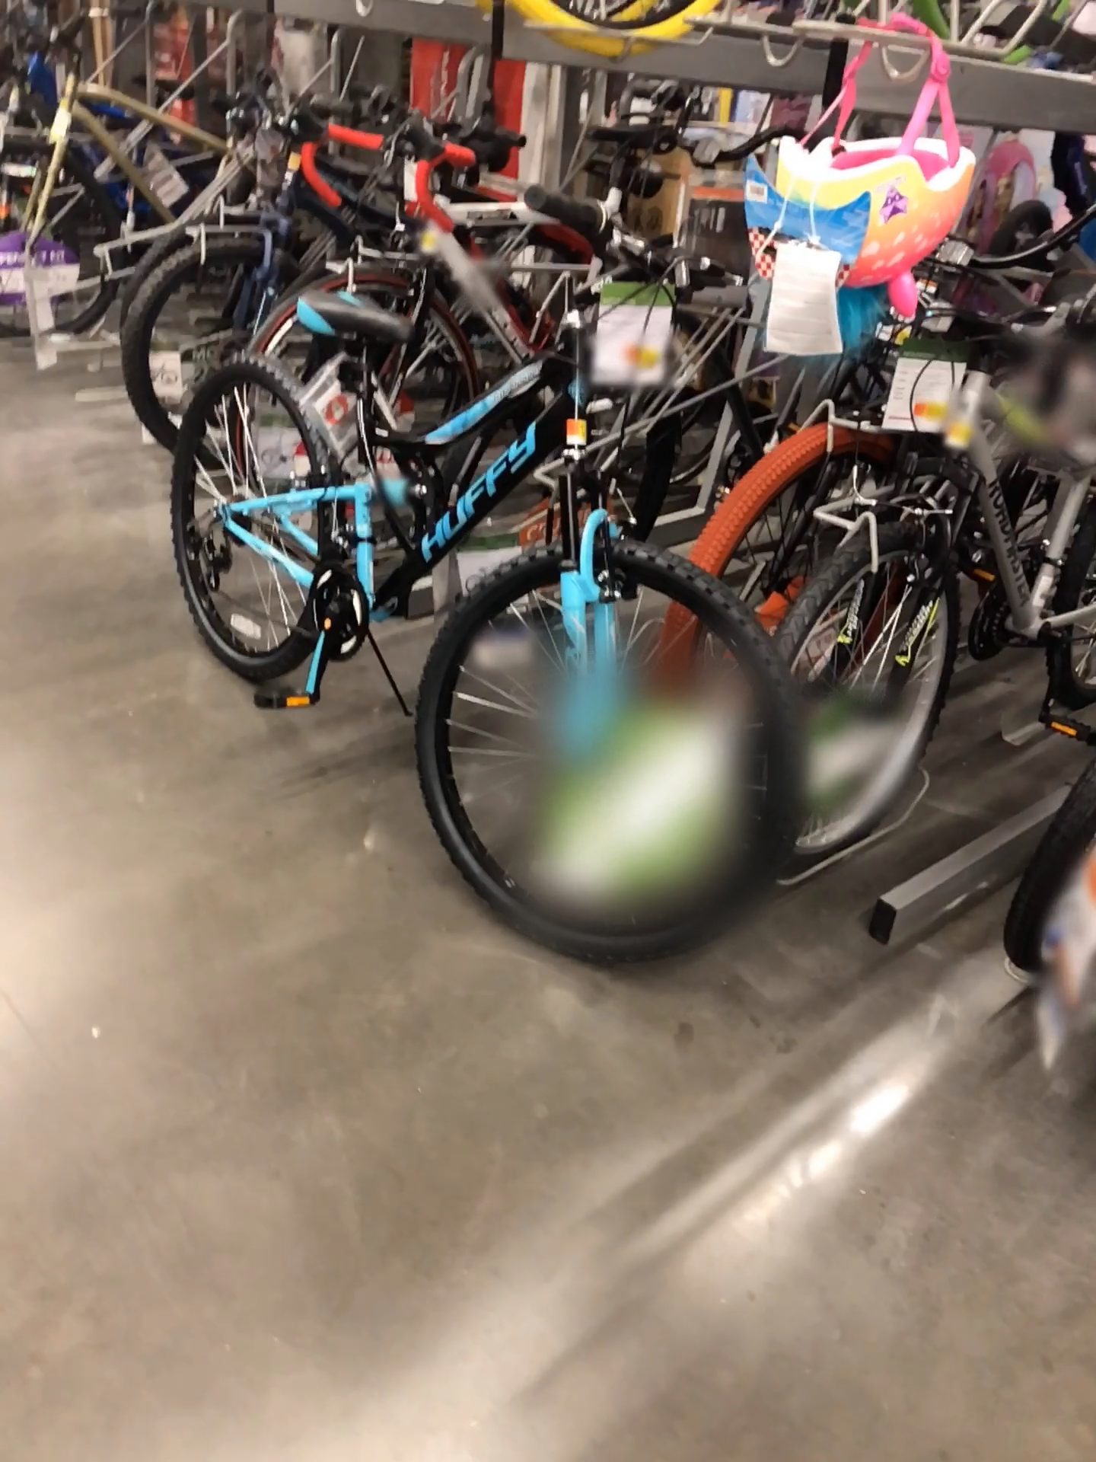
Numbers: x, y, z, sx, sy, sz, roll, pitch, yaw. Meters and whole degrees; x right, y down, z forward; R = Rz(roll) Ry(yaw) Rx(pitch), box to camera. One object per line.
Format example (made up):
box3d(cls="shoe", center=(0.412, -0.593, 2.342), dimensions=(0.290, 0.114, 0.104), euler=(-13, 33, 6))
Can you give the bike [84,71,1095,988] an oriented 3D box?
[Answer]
box3d(cls="bike", center=(-0.077, -0.490, 2.174), dimensions=(0.545, 1.120, 1.710), euler=(-24, 41, -39))
